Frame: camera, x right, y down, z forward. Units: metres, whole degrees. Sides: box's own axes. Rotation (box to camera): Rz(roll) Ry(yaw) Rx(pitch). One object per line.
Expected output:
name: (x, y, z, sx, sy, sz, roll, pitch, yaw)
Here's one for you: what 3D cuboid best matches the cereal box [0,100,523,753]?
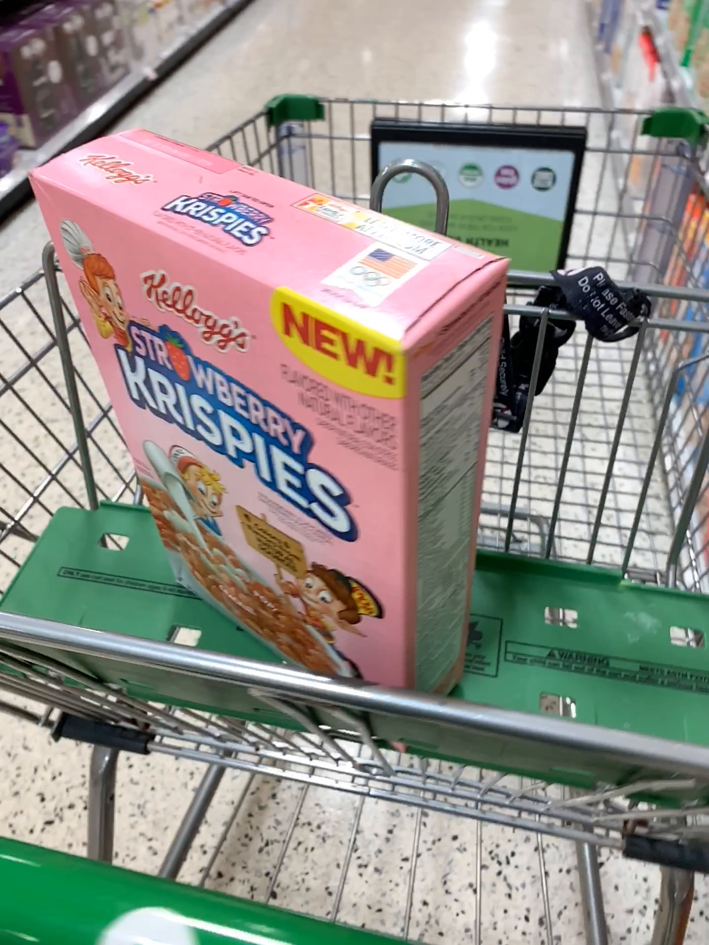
cereal box: (-0.040, -0.003, 0.378, 0.211, 0.297, 0.060, 30, 56, 27)
